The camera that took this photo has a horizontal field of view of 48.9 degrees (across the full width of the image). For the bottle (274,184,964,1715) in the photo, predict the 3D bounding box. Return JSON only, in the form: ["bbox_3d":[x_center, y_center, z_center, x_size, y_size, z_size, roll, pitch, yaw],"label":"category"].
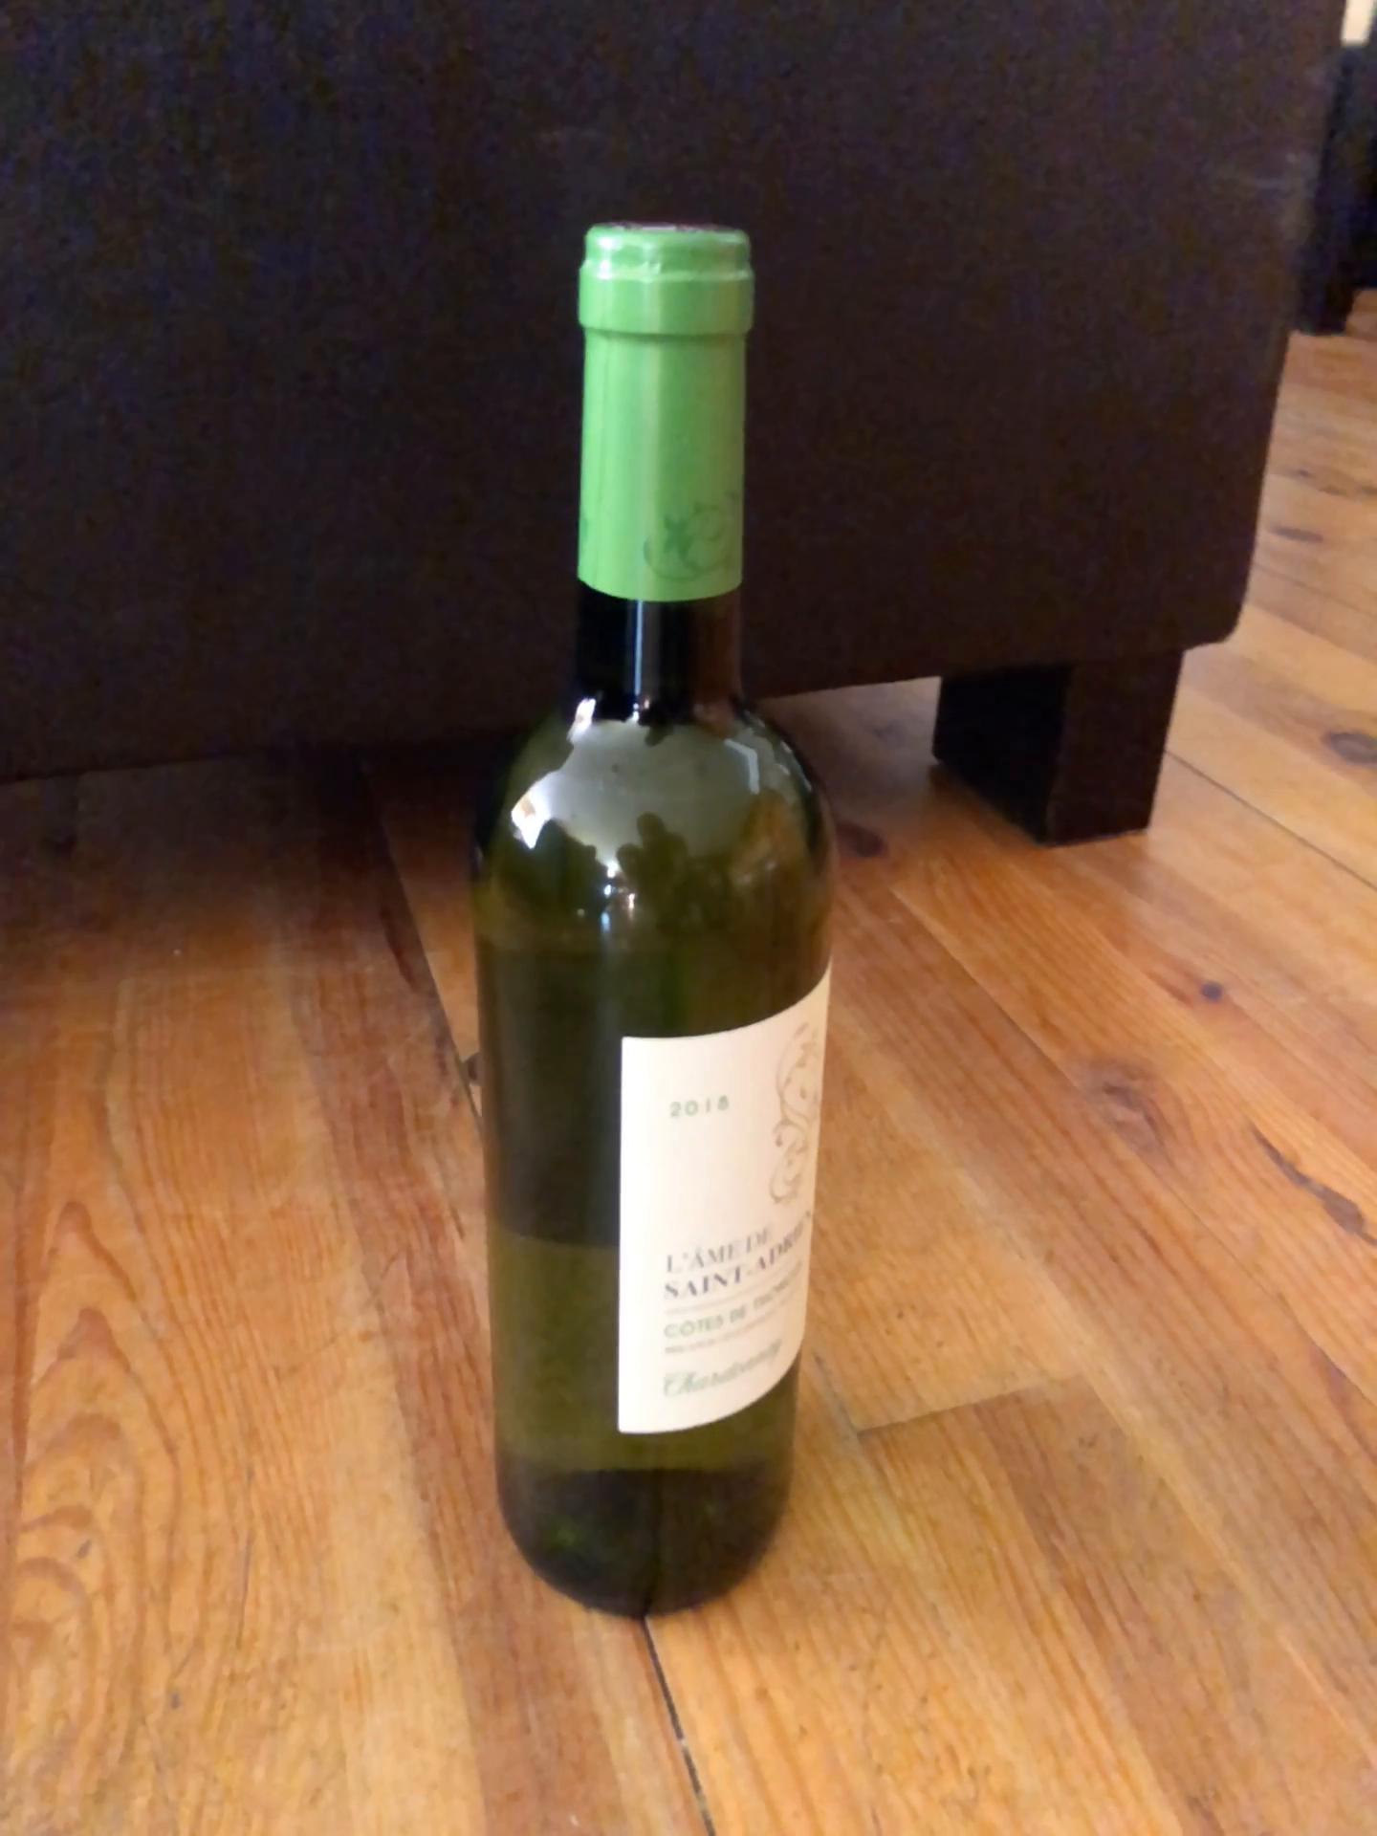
[{"bbox_3d":[-0.014,0.016,0.313,0.080,0.298,0.080,0,28,0],"label":"bottle"}]
